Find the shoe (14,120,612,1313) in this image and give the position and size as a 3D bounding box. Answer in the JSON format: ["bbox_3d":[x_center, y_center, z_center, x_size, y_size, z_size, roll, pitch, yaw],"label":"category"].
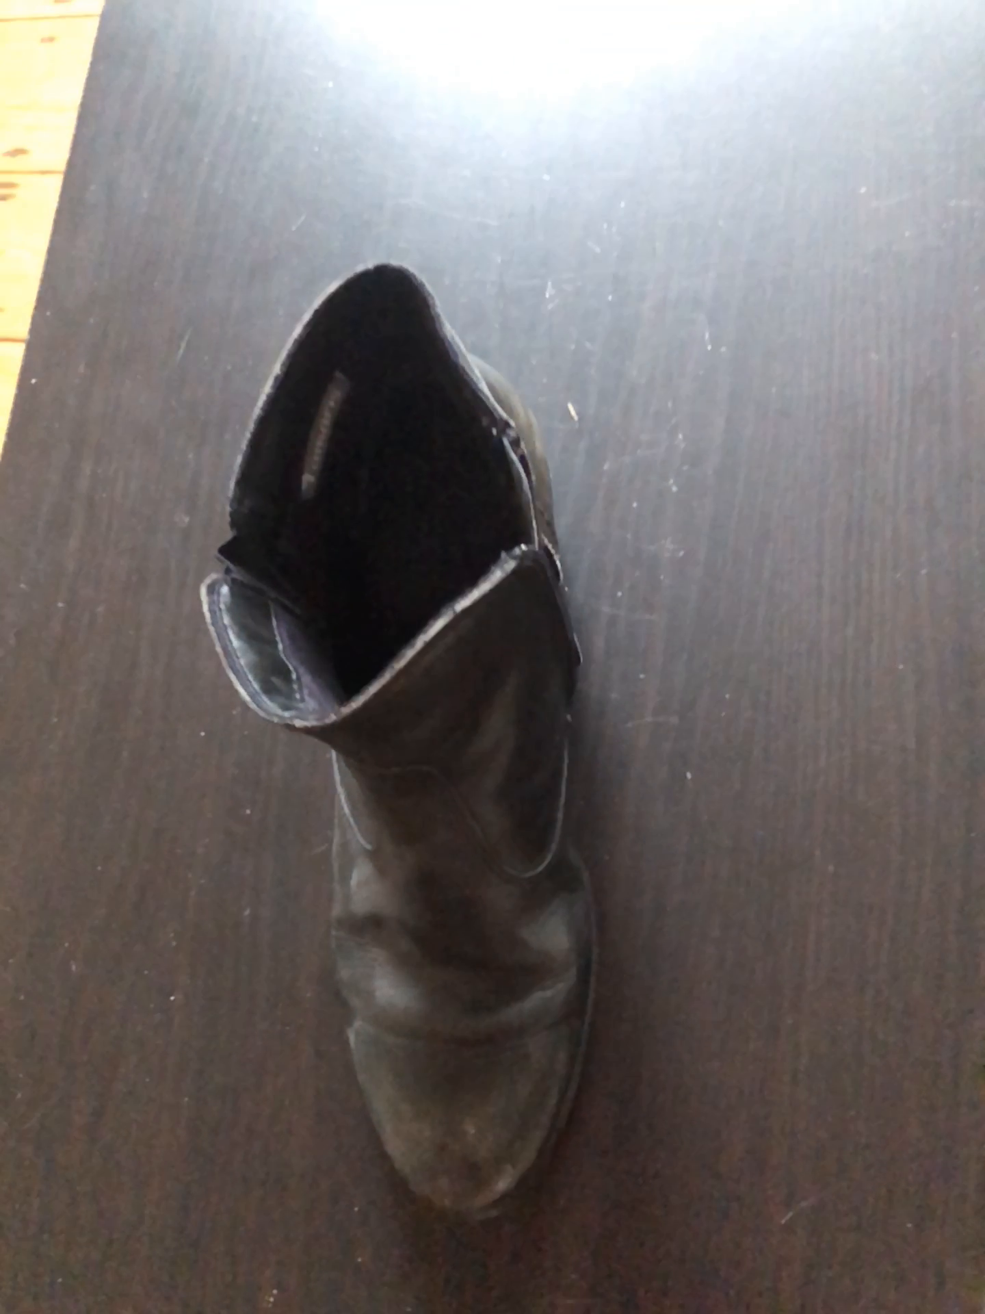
[{"bbox_3d":[-0.024,0.029,0.308,0.090,0.170,0.270,0,78,12],"label":"shoe"}]
